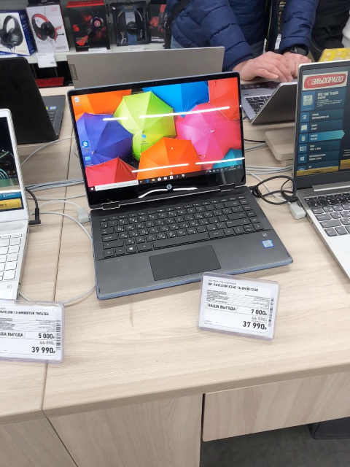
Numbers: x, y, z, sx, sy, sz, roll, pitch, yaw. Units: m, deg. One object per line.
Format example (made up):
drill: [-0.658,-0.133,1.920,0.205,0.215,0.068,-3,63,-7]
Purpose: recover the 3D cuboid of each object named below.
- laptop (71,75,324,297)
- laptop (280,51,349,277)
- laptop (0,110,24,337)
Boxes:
laptop: [0.004,-0.106,0.683,0.326,0.194,0.328,-10,43,-9]
laptop: [0.440,-0.141,0.679,0.351,0.218,0.331,-7,43,-7]
laptop: [-0.428,-0.040,0.628,0.292,0.171,0.324,-7,44,-10]
